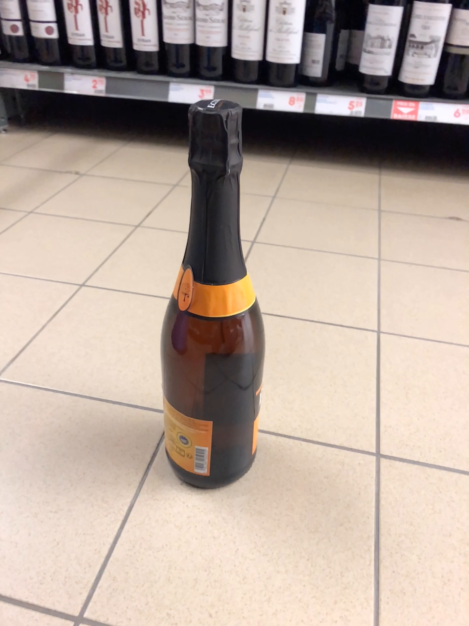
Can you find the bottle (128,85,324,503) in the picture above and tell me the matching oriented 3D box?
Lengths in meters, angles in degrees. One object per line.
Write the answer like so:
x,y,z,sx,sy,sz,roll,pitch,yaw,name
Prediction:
-0.013,-0.002,0.392,0.090,0.298,0.090,2,33,-1,bottle
